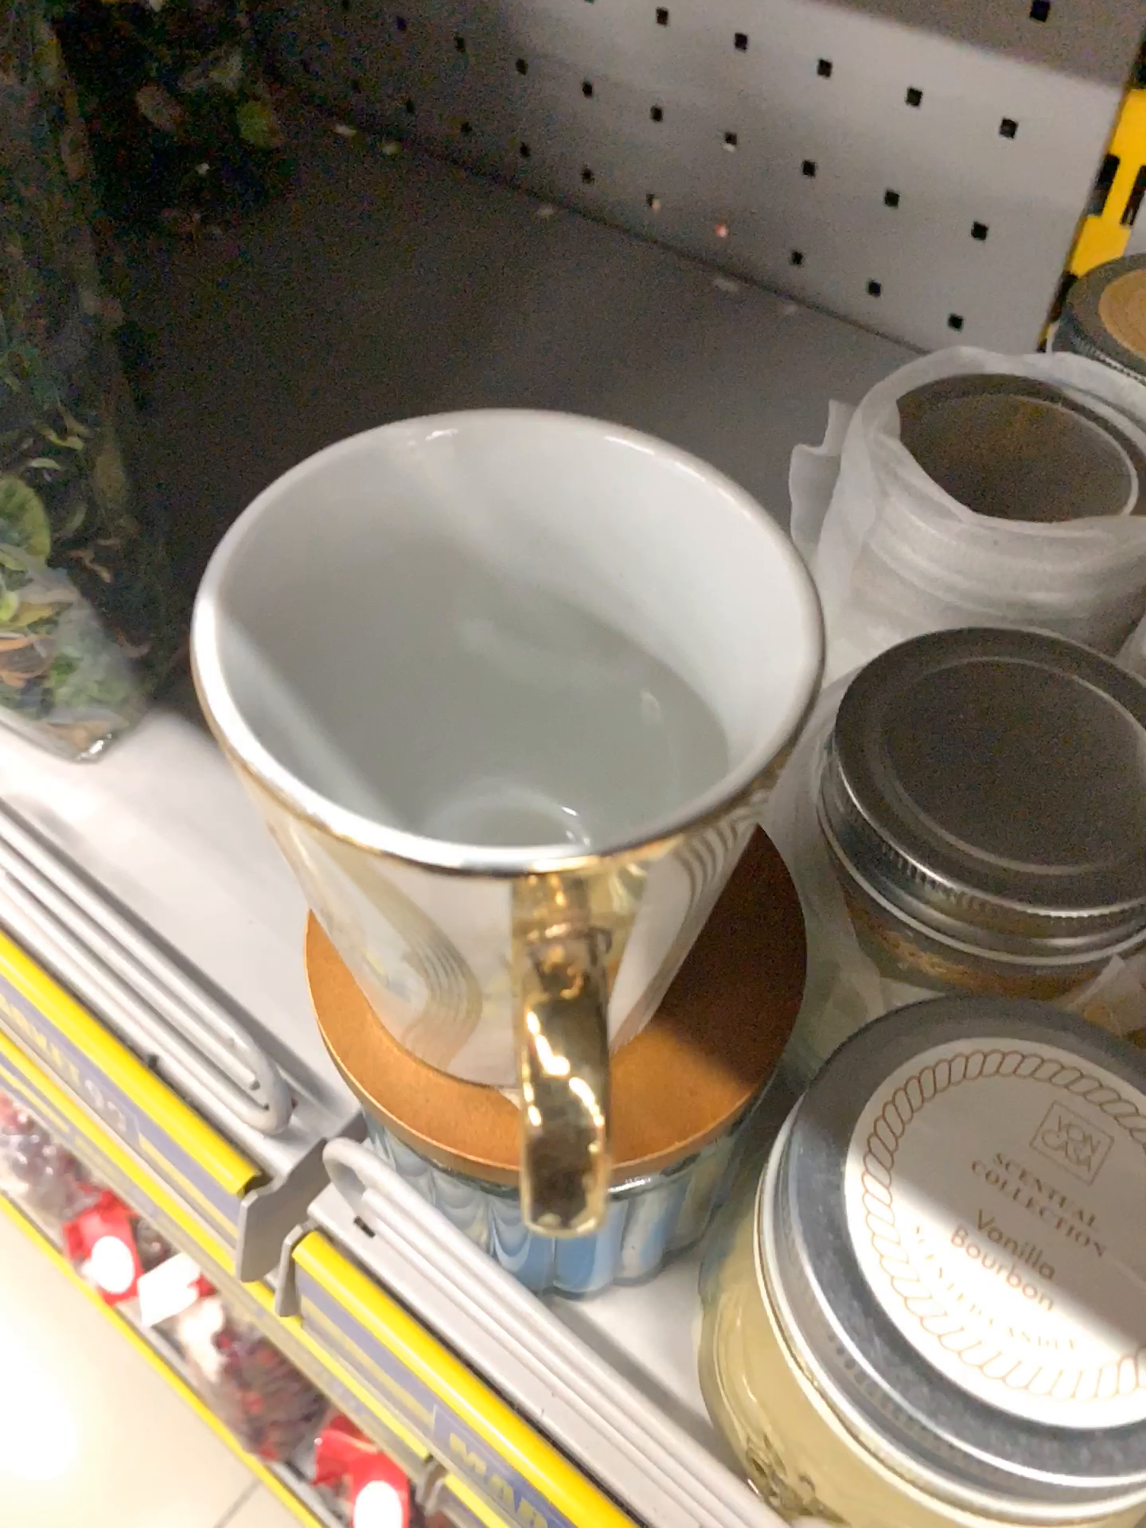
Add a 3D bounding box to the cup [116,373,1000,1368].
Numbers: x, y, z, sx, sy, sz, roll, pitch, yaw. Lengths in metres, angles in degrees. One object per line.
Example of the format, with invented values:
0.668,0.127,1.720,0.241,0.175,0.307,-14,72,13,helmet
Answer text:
-0.006,0.014,0.153,0.070,0.080,0.090,-6,51,-5,cup
